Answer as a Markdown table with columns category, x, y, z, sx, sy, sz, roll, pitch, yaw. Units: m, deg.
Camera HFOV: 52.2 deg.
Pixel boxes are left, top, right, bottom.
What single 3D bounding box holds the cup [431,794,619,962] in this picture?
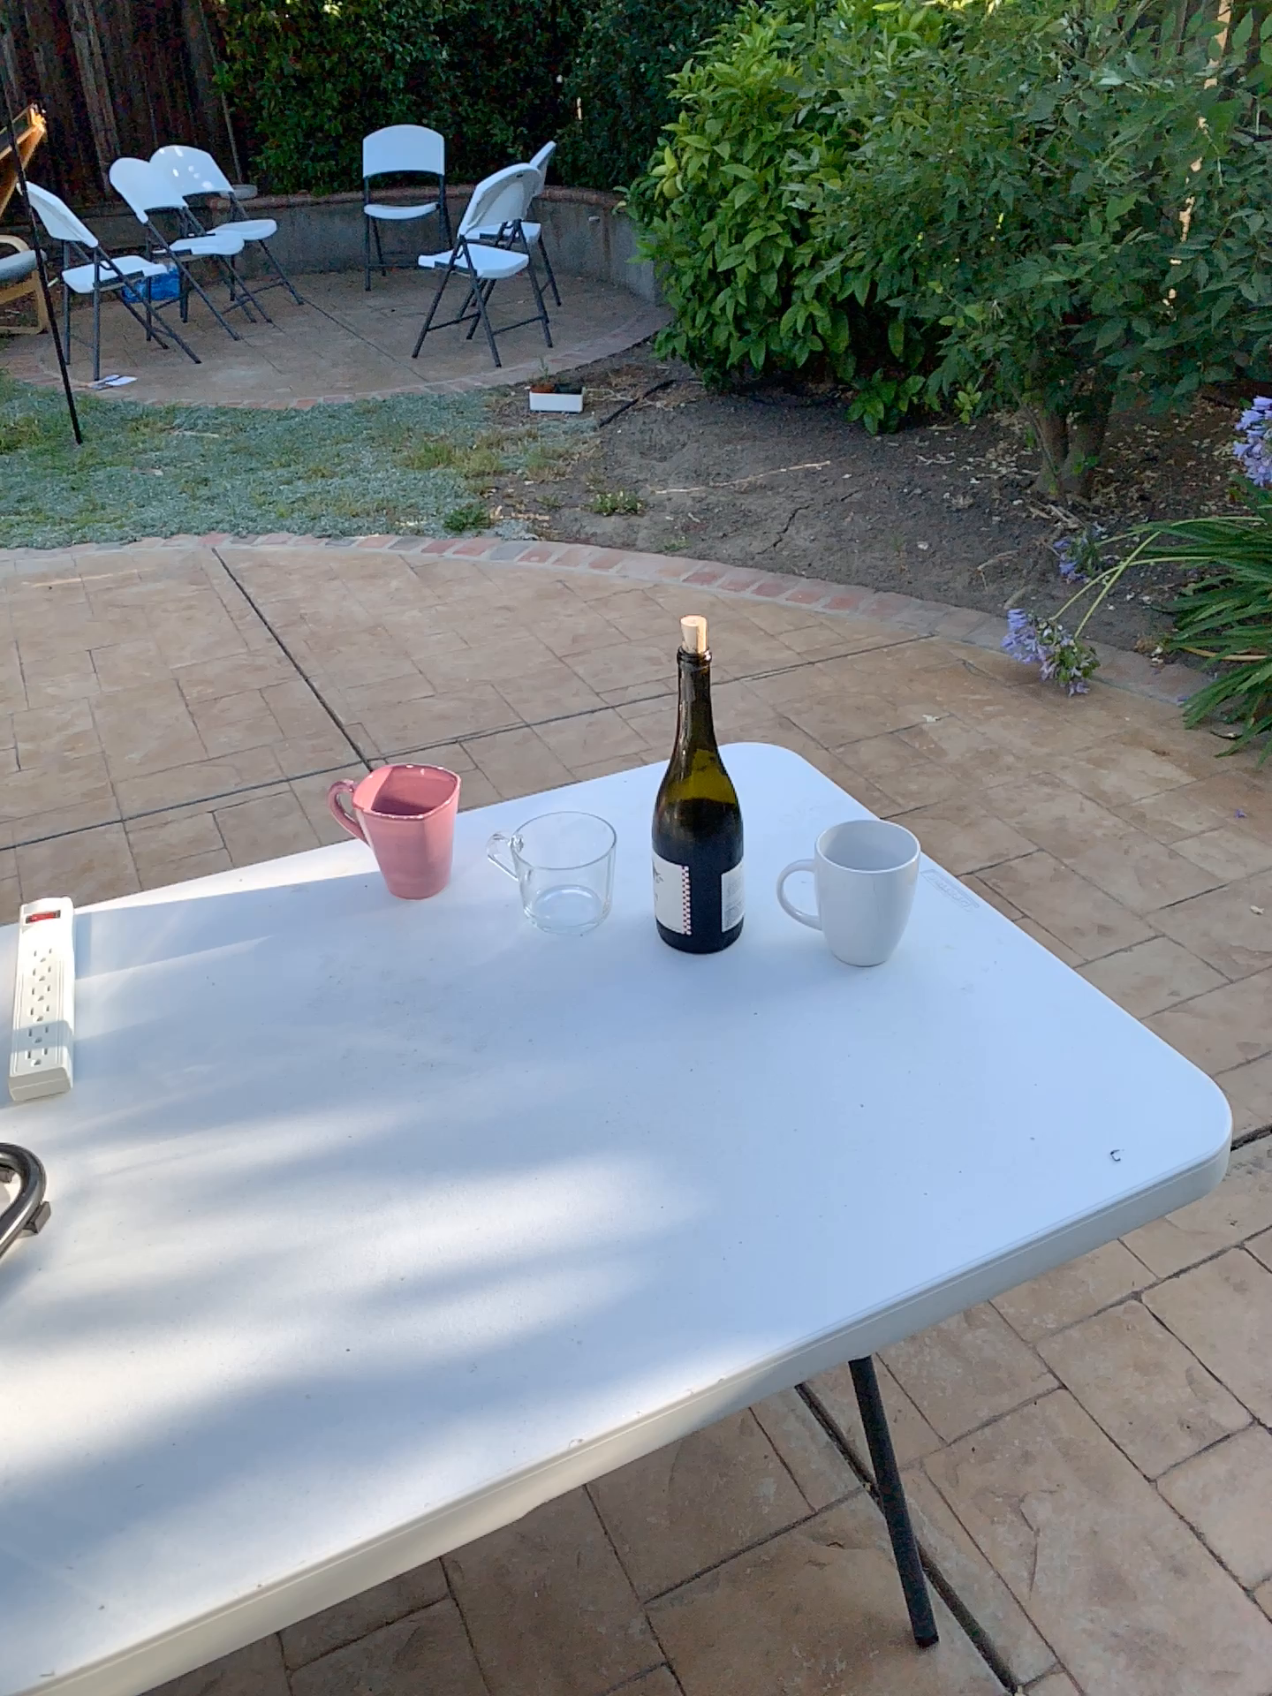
| category | x | y | z | sx | sy | sz | roll | pitch | yaw |
| --- | --- | --- | --- | --- | --- | --- | --- | --- | --- |
| cup | -0.104 | 0.026 | 1.254 | 0.140 | 0.089 | 0.110 | 12 | 36 | 21 |

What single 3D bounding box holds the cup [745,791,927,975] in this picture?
| category | x | y | z | sx | sy | sz | roll | pitch | yaw |
| --- | --- | --- | --- | --- | --- | --- | --- | --- | --- |
| cup | 0.174 | 0.028 | 1.129 | 0.140 | 0.099 | 0.111 | 6 | 34 | 13 |

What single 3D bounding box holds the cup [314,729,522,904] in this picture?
| category | x | y | z | sx | sy | sz | roll | pitch | yaw |
| --- | --- | --- | --- | --- | --- | --- | --- | --- | --- |
| cup | -0.196 | -0.031 | 1.185 | 0.140 | 0.089 | 0.110 | 14 | 36 | 23 |
